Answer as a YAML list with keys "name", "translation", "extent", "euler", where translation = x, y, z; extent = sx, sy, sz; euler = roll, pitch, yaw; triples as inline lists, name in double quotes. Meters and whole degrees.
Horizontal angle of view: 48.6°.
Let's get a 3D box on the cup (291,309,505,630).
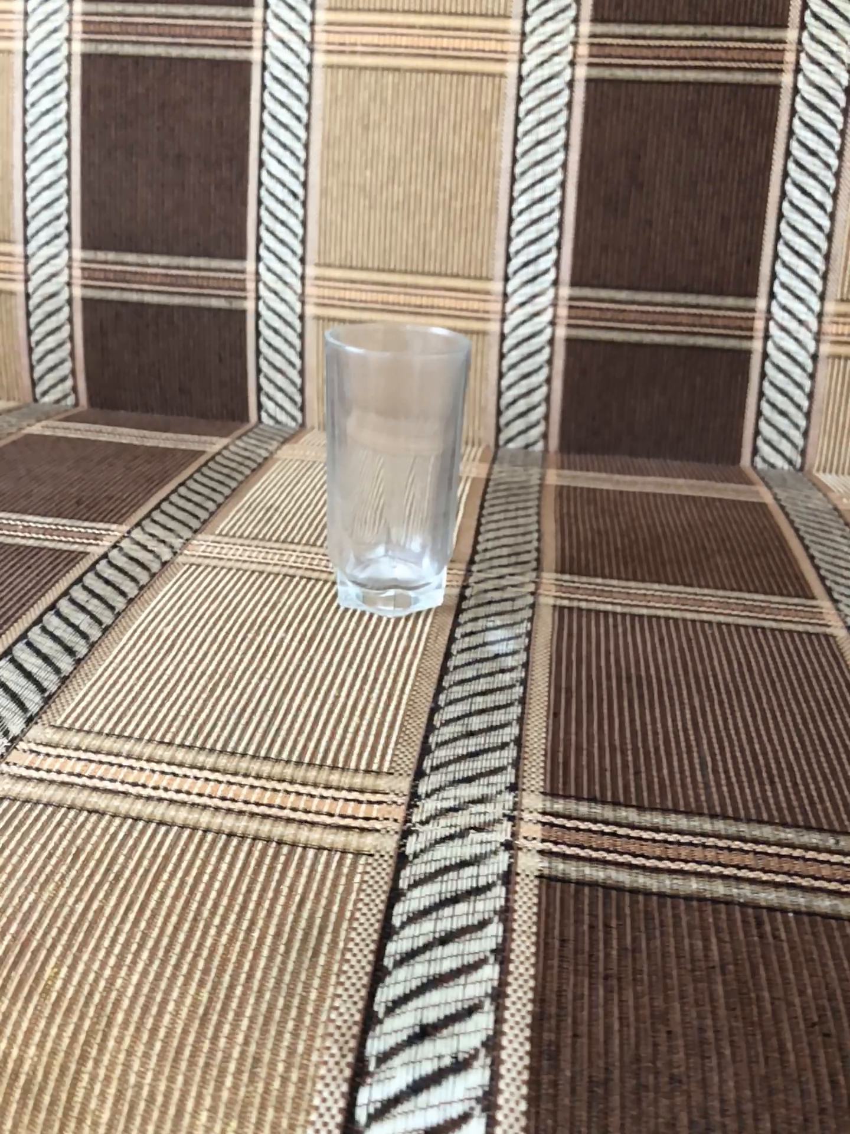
- name: "cup"
  translation: [-0.014, -0.051, 0.464]
  extent: [0.076, 0.130, 0.076]
  euler: [3, 24, -1]
